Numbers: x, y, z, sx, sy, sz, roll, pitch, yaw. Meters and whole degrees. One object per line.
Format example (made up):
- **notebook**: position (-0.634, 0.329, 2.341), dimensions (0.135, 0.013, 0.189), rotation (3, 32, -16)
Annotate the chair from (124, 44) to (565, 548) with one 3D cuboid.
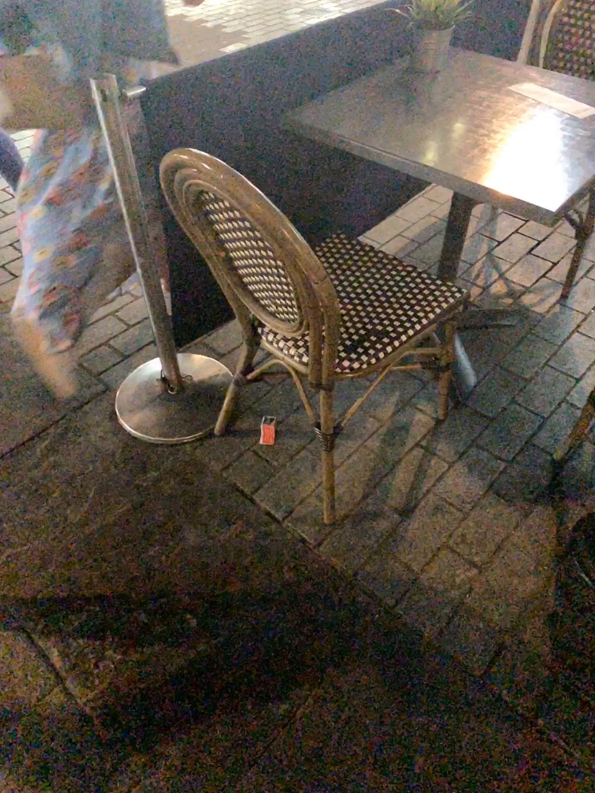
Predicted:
- **chair**: position (0.094, -0.222, 1.345), dimensions (0.512, 0.792, 0.603), rotation (33, 54, 28)
